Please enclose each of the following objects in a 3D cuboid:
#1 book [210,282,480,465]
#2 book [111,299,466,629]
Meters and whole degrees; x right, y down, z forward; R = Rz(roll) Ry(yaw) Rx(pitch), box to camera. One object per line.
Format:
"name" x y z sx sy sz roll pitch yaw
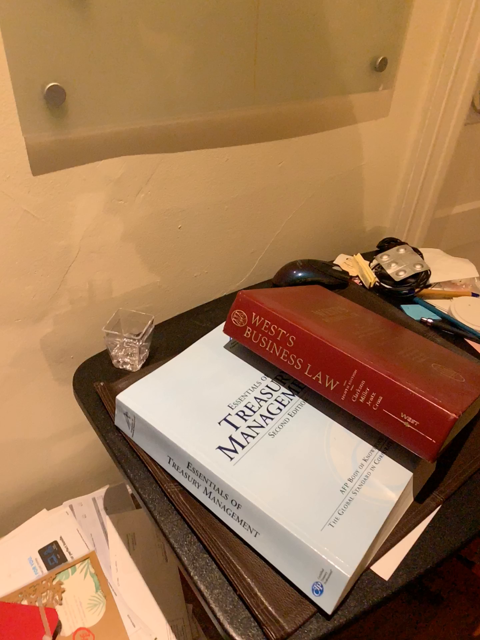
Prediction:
"book" 0.136 0.035 0.568 0.271 0.050 0.210 31 20 29
"book" 0.045 0.109 0.504 0.271 0.070 0.221 31 45 30
